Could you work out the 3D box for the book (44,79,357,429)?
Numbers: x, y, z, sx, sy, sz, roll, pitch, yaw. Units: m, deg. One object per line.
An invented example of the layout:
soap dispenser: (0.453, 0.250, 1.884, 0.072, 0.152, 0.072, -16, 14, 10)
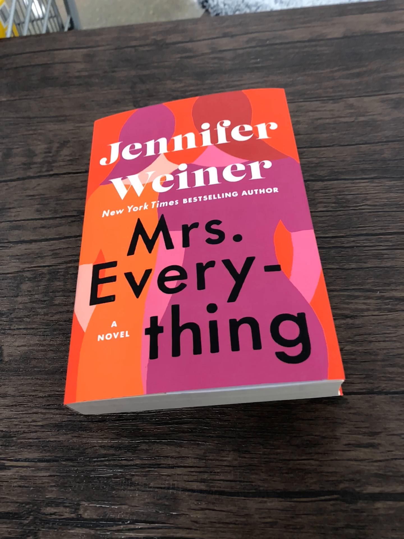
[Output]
book: (-0.006, -0.022, 0.307, 0.161, 0.046, 0.232, -6, 60, 5)
